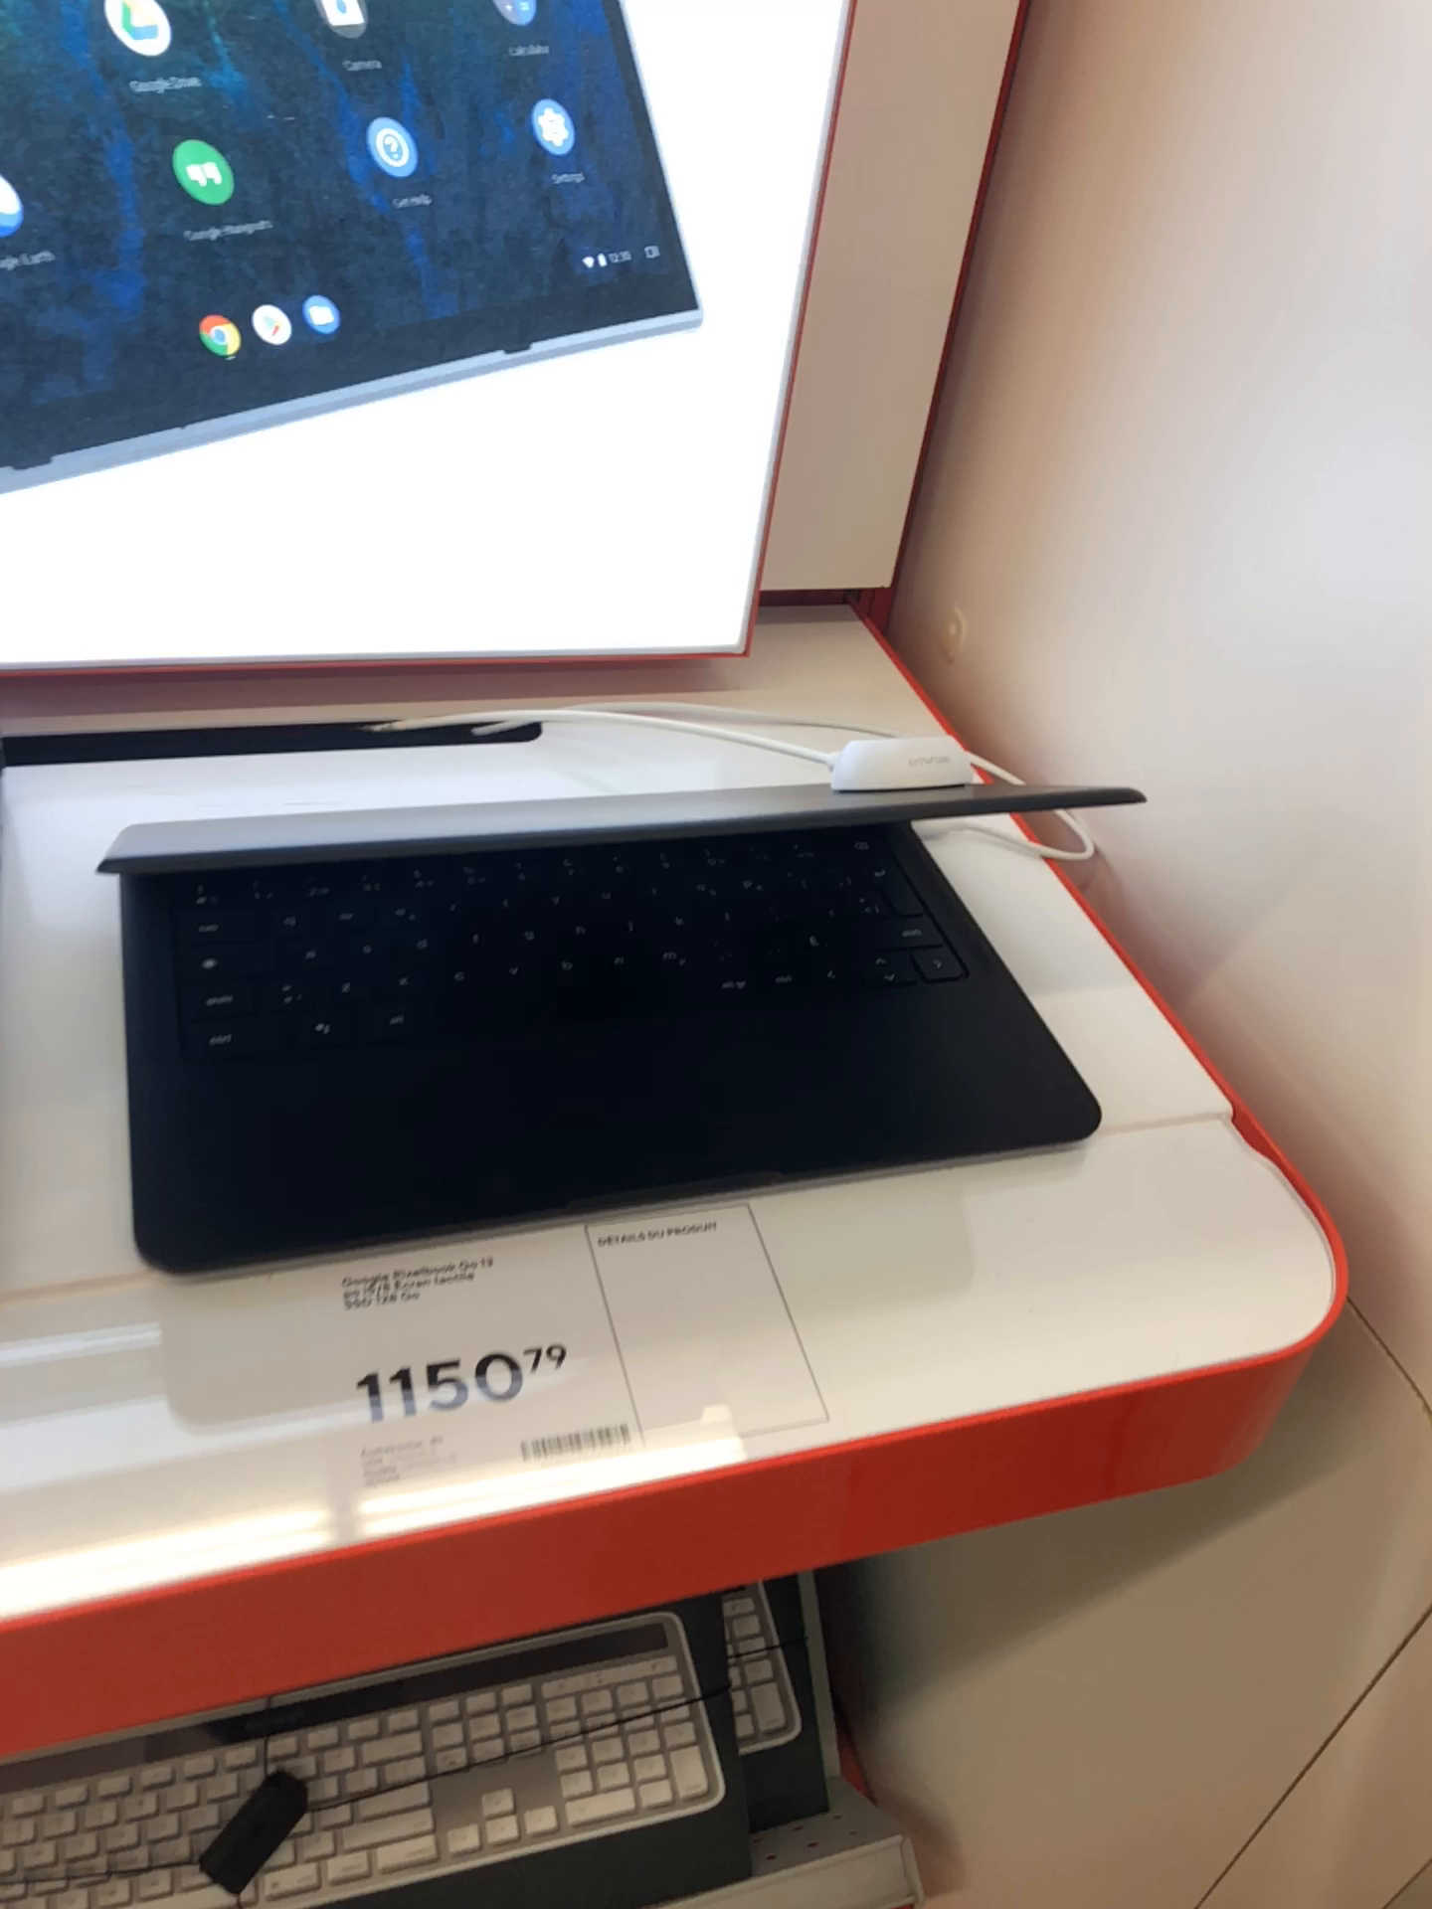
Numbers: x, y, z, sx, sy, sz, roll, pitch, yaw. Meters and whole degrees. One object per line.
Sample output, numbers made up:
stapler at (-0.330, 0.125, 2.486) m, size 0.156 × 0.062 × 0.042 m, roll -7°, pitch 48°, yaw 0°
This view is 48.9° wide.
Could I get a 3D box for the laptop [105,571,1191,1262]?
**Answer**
laptop at (-0.037, -0.032, 0.523) m, size 0.298 × 0.106 × 0.200 m, roll -6°, pitch 40°, yaw -19°
